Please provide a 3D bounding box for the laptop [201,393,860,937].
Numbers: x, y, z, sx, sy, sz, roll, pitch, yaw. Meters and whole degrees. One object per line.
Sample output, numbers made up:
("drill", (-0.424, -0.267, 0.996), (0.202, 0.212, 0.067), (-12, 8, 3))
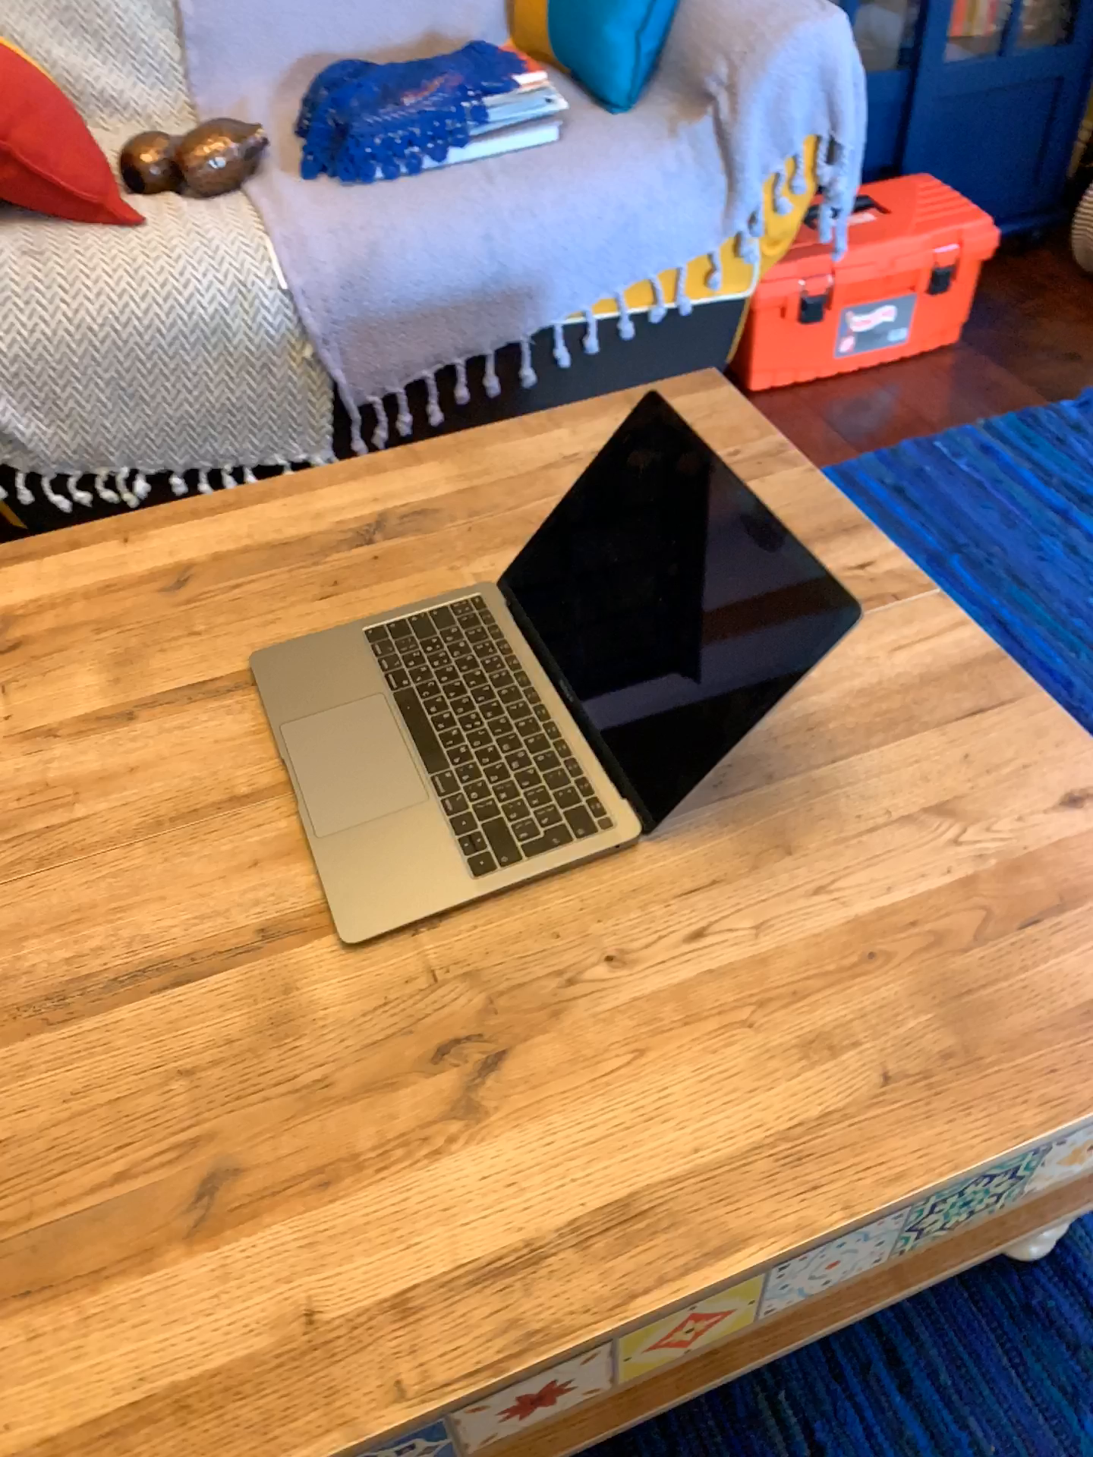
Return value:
("laptop", (-0.025, -0.065, 0.790), (0.353, 0.141, 0.292), (-18, 47, -12))
